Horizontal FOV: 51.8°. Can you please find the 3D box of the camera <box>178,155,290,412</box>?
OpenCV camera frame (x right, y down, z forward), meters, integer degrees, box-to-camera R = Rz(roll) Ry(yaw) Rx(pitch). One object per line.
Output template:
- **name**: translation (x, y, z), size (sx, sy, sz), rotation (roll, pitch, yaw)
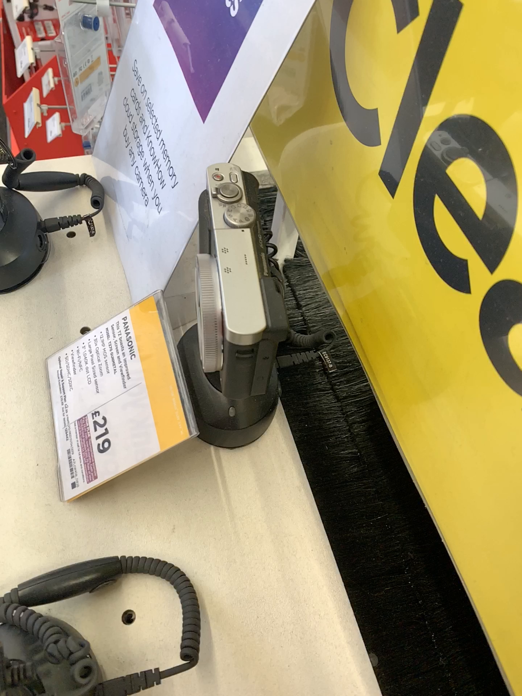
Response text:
- **camera**: translation (-0.018, -0.034, 0.277), size (0.040, 0.070, 0.111), rotation (-4, 58, -8)
